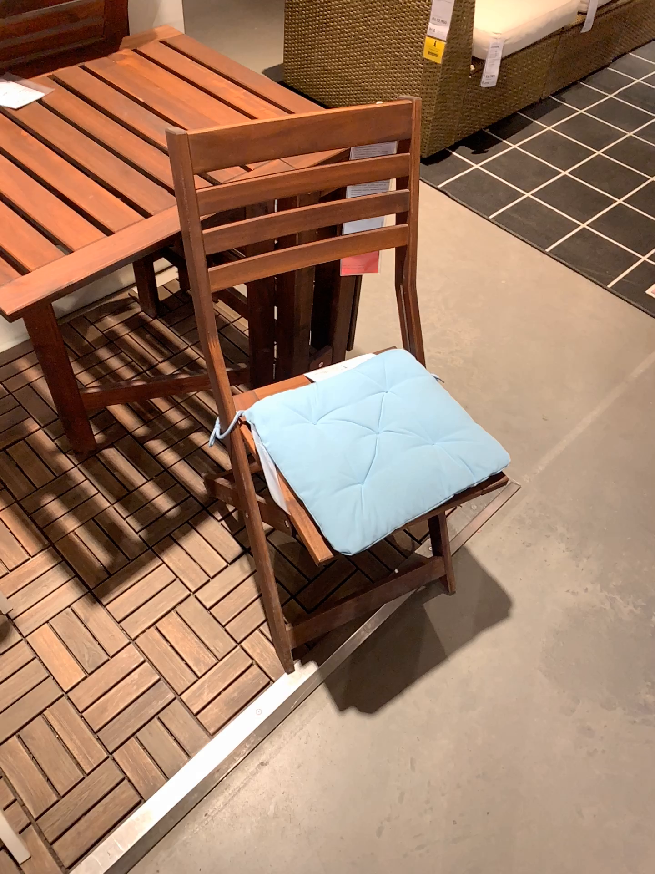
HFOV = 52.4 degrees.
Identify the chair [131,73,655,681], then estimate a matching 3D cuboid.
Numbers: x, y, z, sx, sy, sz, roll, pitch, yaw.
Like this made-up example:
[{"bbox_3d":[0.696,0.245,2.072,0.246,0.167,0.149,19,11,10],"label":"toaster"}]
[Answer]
[{"bbox_3d":[0.042,-0.062,1.121,0.470,0.778,0.521,-20,56,-20],"label":"chair"}]
